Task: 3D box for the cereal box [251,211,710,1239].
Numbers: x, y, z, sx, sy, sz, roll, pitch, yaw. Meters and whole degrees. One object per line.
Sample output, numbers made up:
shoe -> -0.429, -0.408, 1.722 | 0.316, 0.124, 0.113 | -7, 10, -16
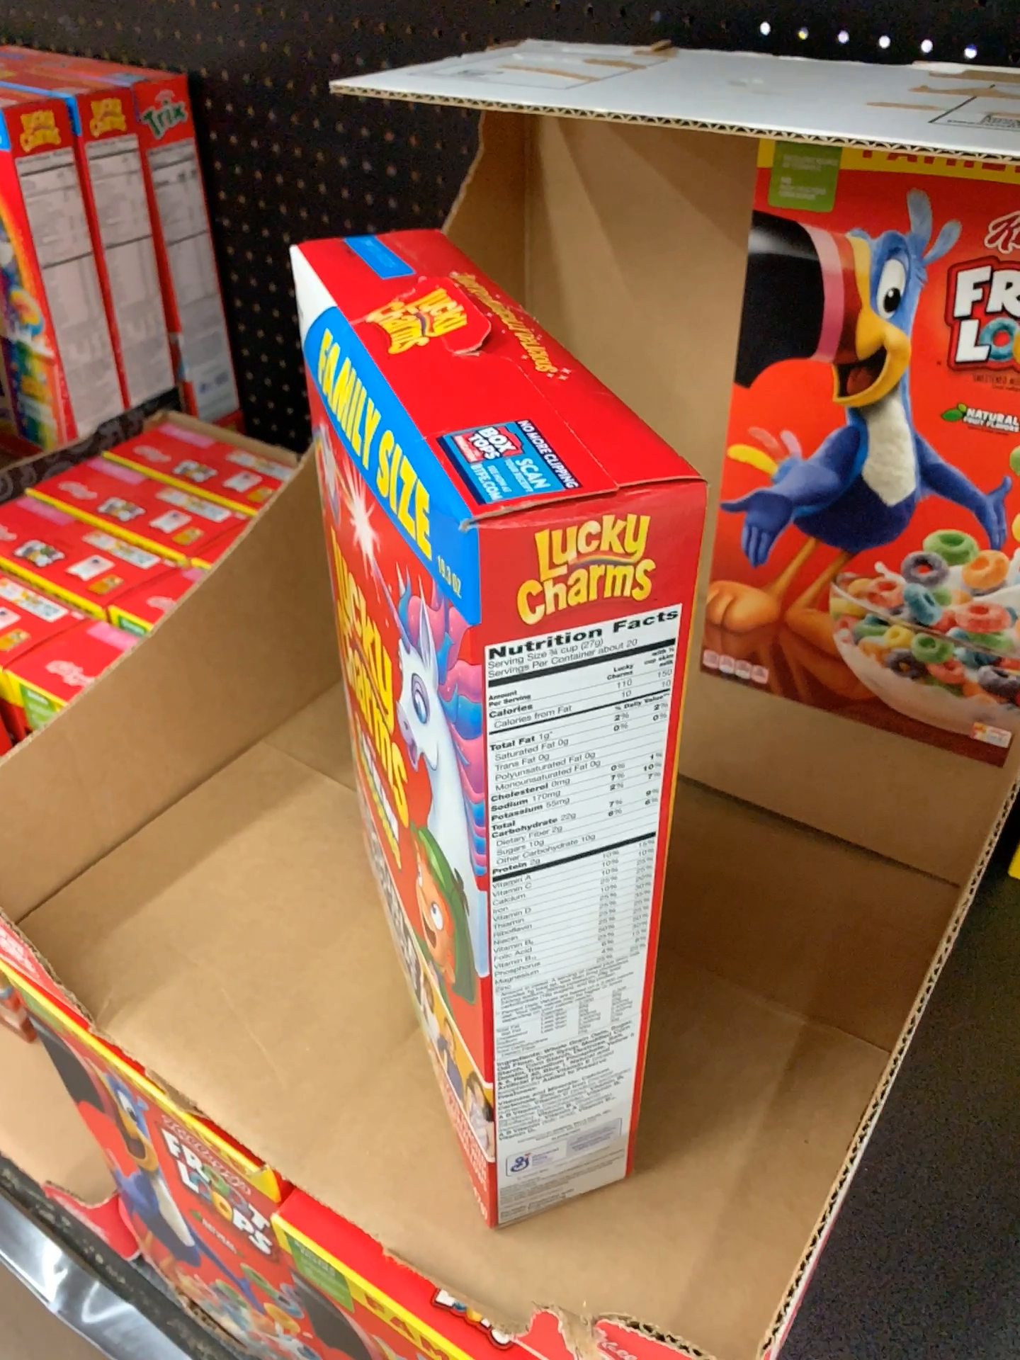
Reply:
cereal box -> -0.024, 0.012, 0.385 | 0.060, 0.289, 0.231 | -12, 38, -16
